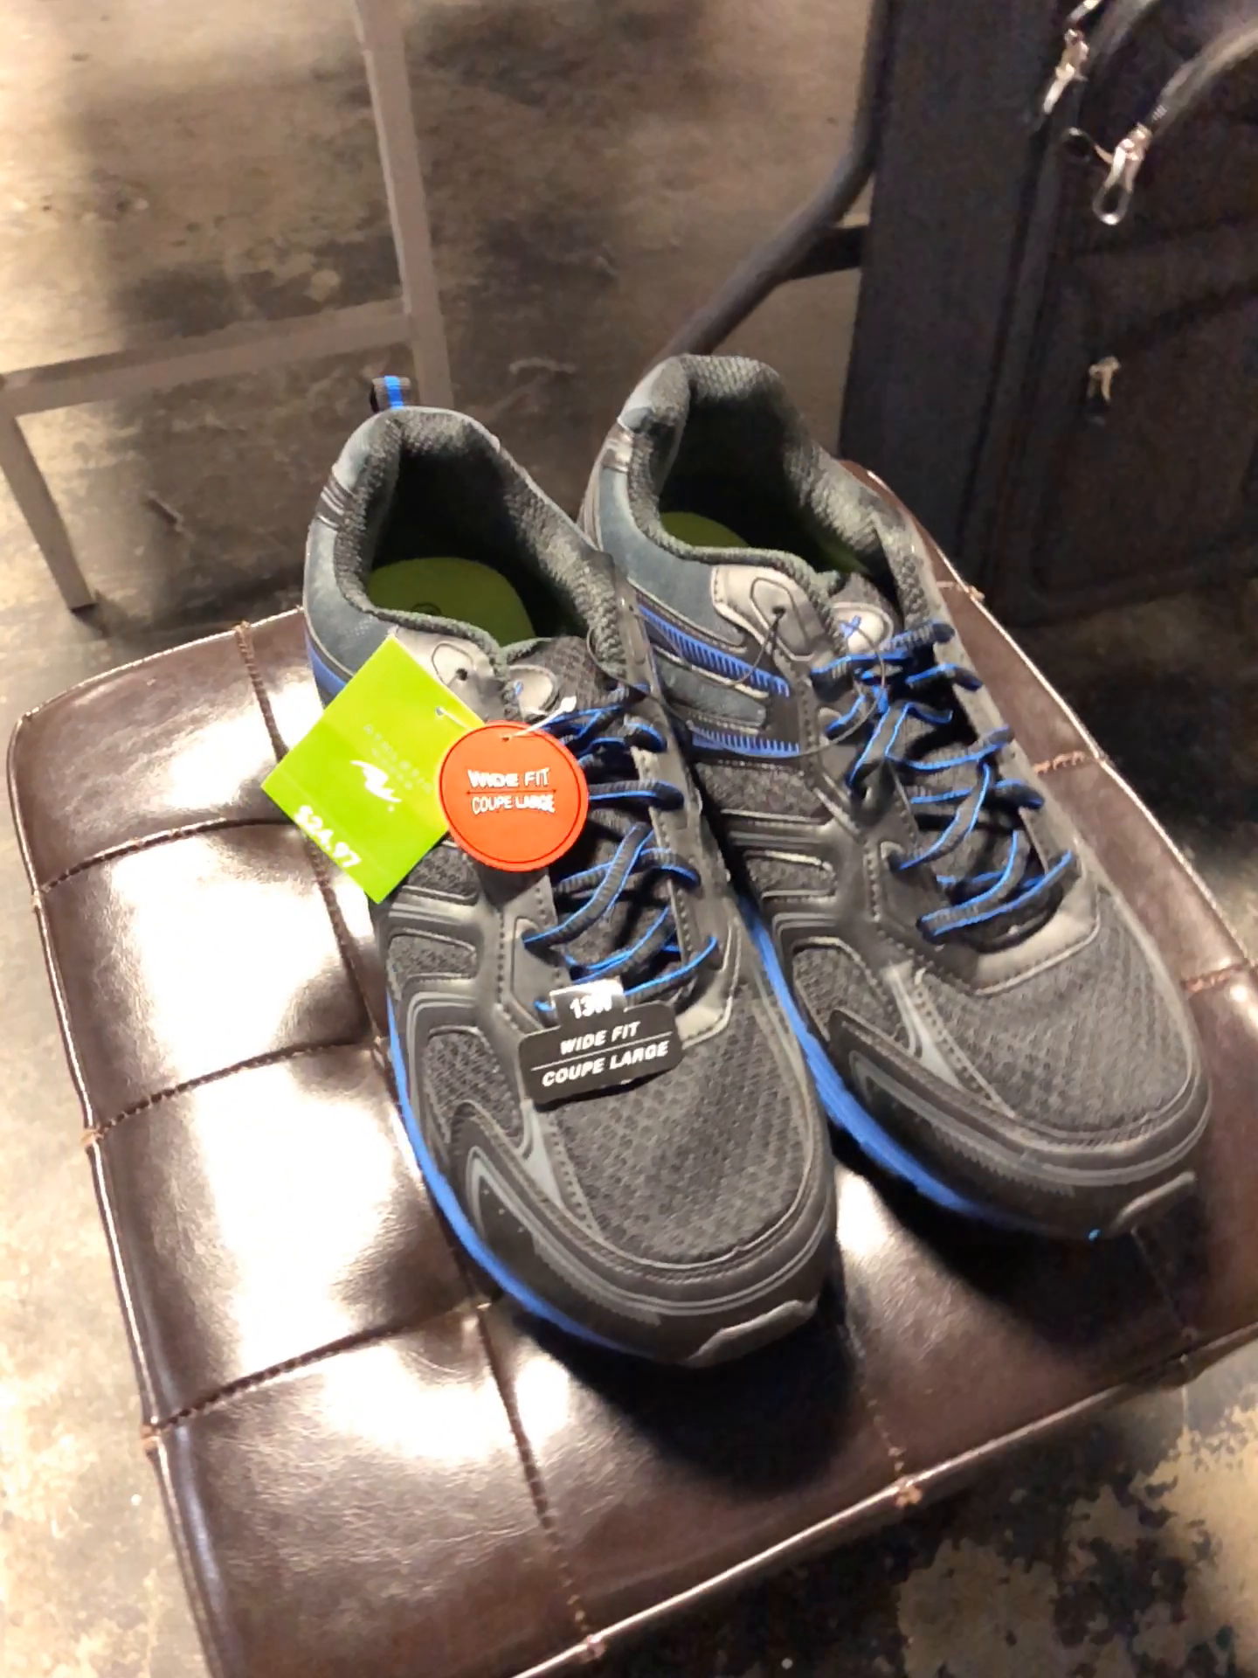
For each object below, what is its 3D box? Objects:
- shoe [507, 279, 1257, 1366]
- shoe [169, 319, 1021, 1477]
[{"bbox_3d":[0.085,-0.025,0.429,0.130,0.099,0.312,-21,59,-14],"label":"shoe"},{"bbox_3d":[-0.027,0.002,0.388,0.120,0.119,0.282,-17,58,-12],"label":"shoe"}]
